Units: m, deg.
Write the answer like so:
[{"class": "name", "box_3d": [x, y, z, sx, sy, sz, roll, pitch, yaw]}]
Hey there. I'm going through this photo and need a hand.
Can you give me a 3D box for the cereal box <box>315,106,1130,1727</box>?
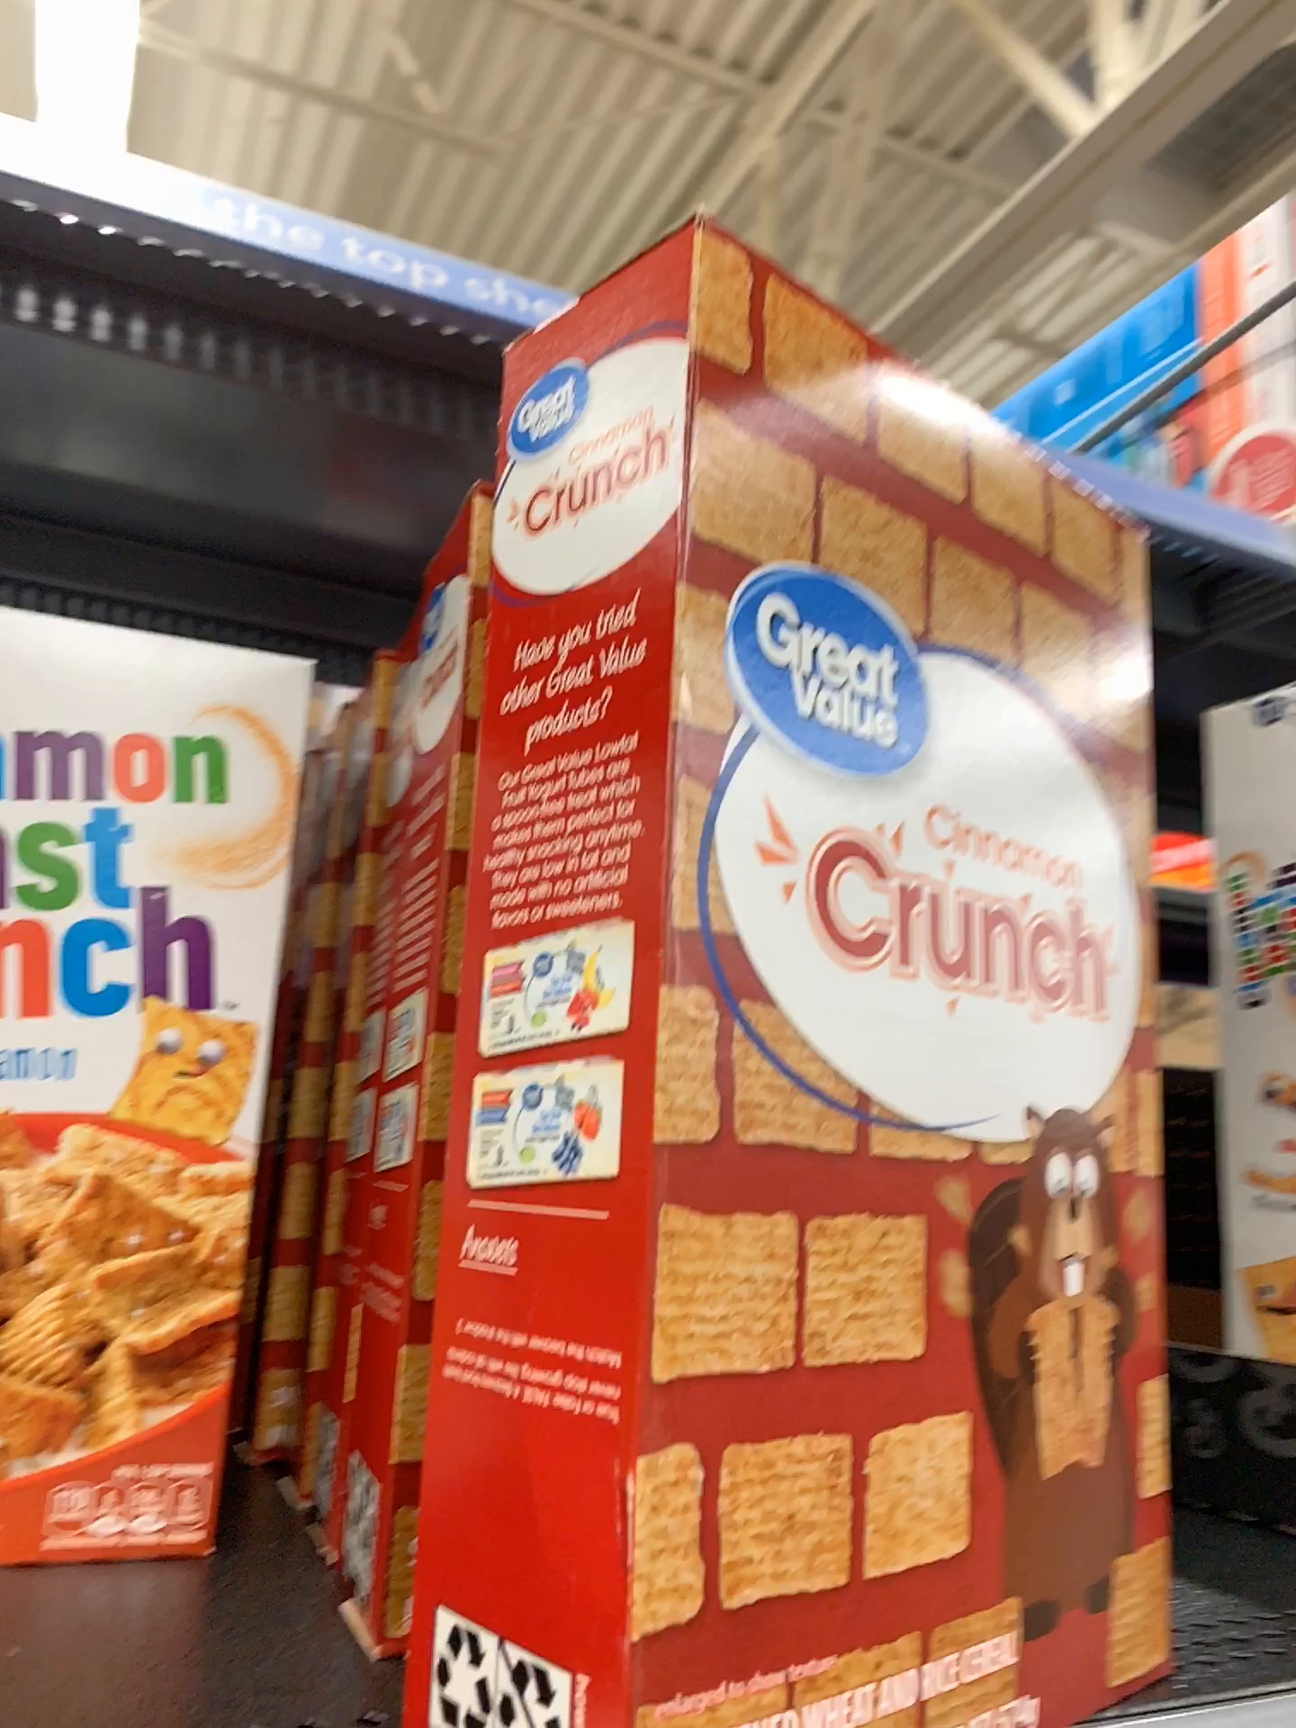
[{"class": "cereal box", "box_3d": [0.037, 0.026, 0.329, 0.070, 0.331, 0.190, -10, -19, 42]}]
